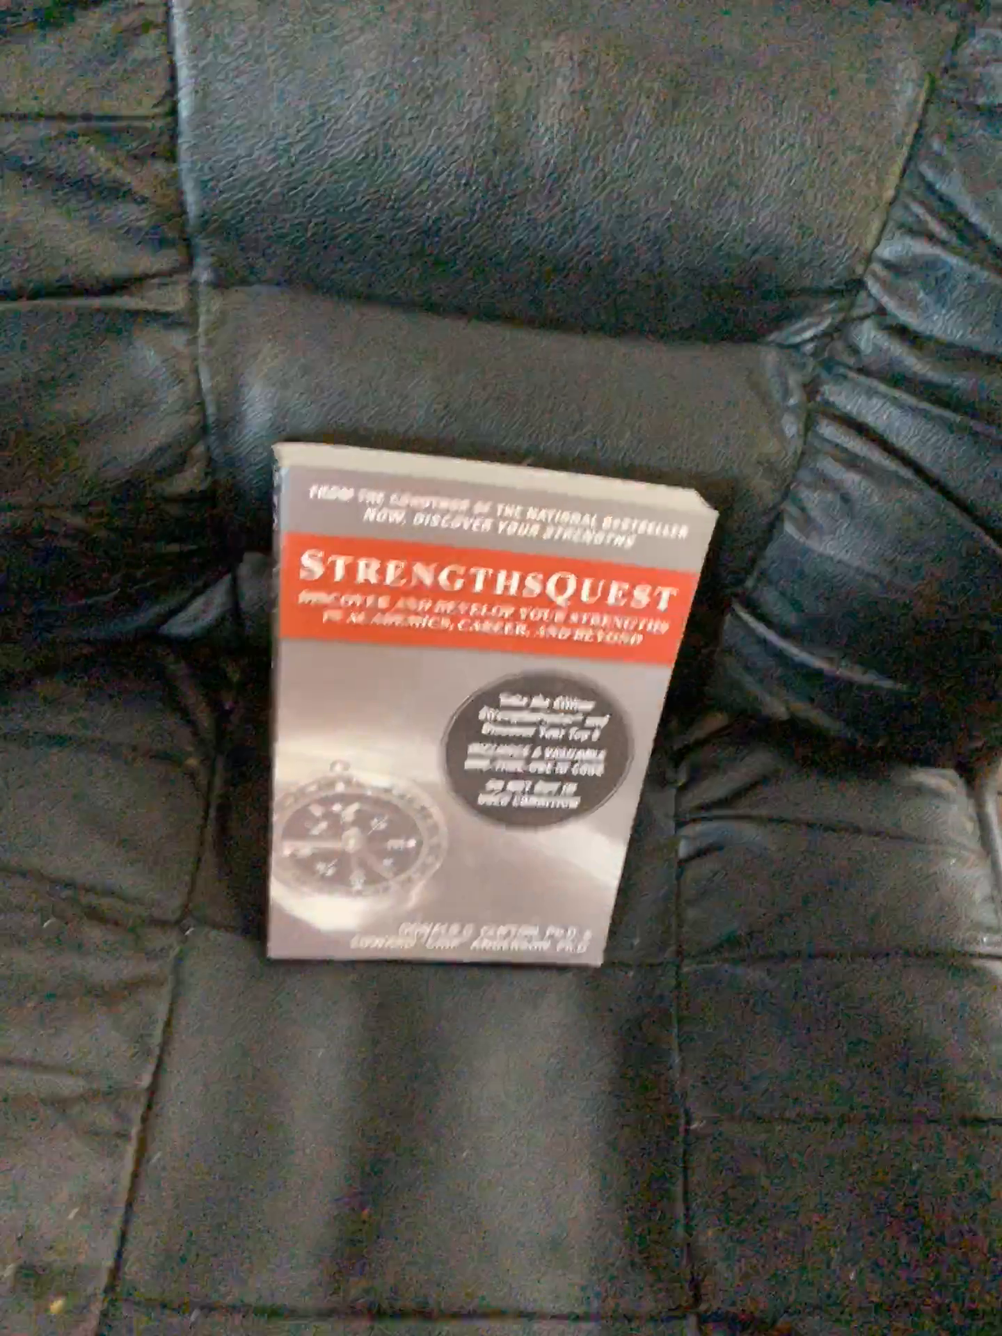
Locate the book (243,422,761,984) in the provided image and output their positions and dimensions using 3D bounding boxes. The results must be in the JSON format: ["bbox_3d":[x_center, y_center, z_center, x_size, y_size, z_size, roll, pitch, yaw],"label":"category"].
[{"bbox_3d":[-0.011,0.030,0.410,0.170,0.239,0.030,3,32,-7],"label":"book"}]
